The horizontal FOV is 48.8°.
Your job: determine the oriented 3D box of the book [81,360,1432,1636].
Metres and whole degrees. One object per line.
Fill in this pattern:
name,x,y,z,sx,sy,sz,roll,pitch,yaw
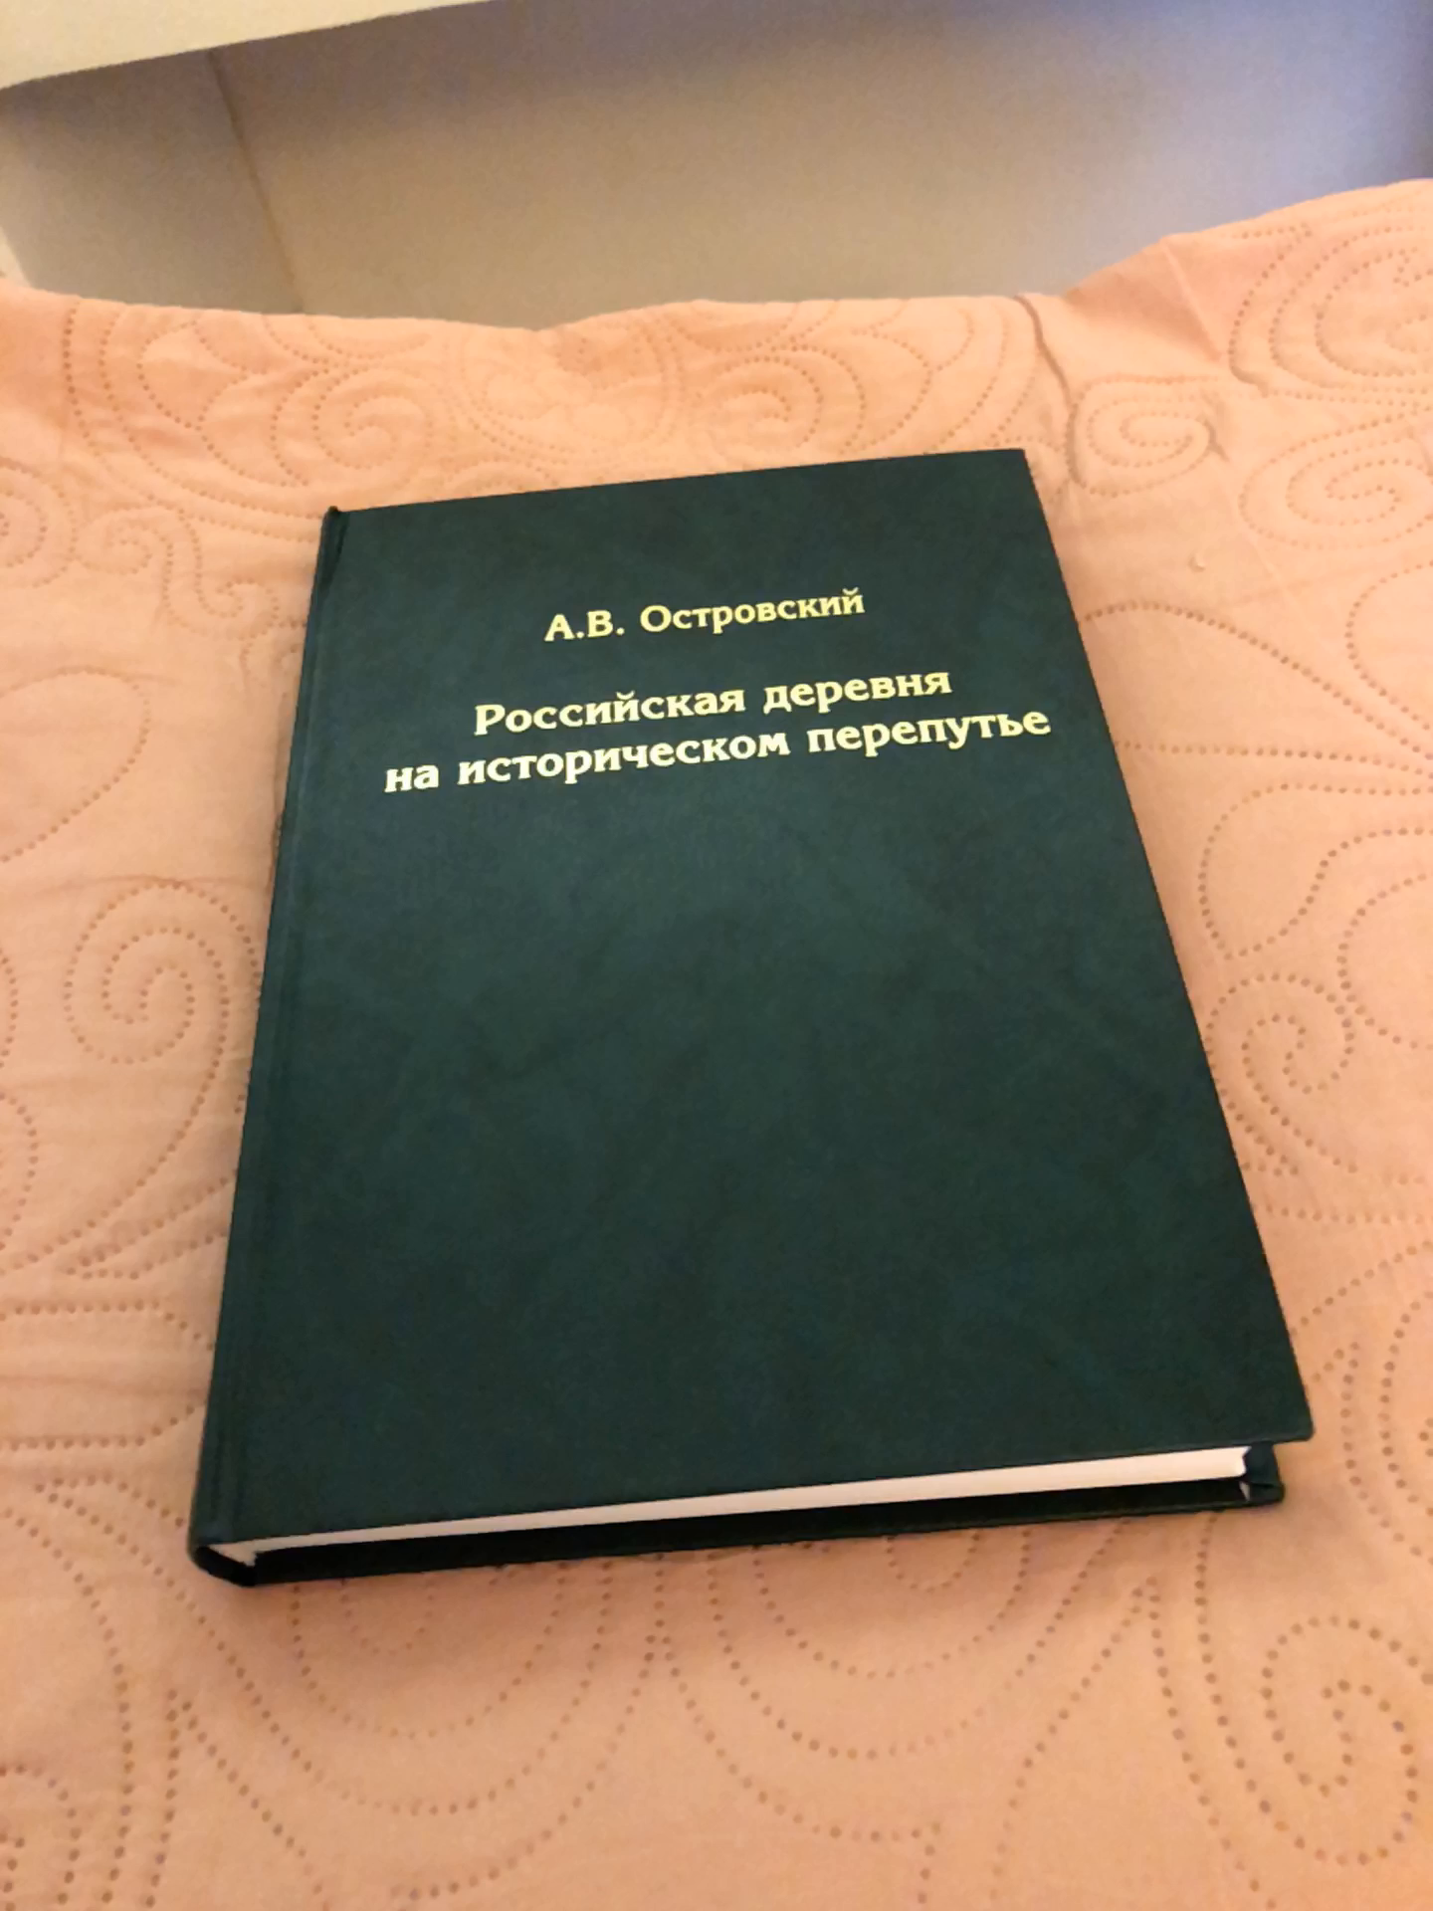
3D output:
book,0.000,-0.014,0.294,0.180,0.040,0.241,-6,53,1
